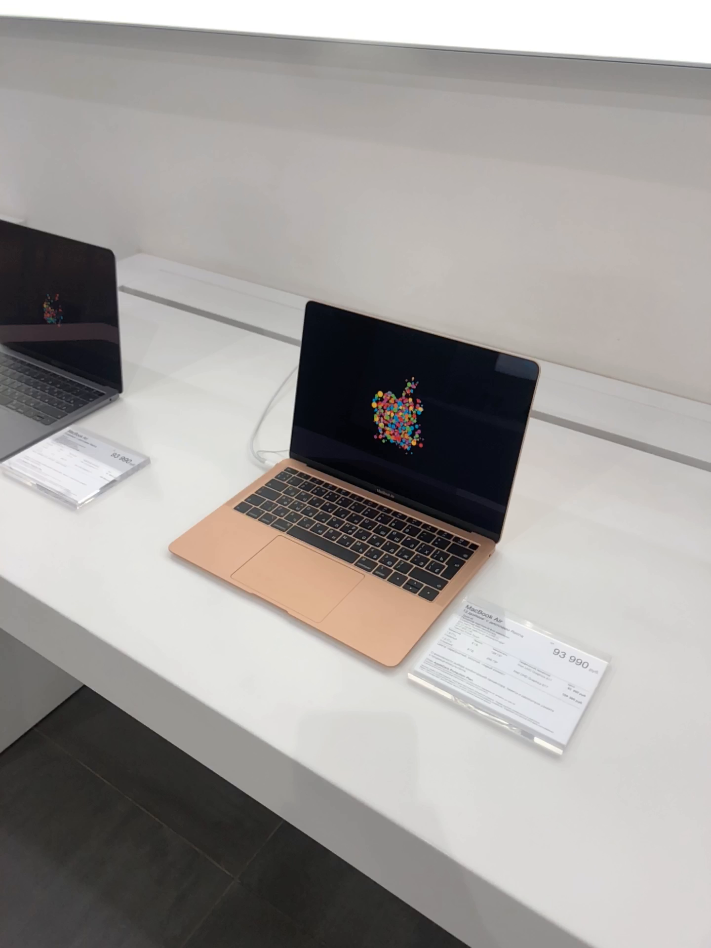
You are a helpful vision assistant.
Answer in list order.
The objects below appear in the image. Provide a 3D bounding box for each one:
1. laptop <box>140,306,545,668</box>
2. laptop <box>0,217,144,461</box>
[{"bbox_3d":[-0.008,-0.011,0.818,0.297,0.188,0.264,22,41,30],"label":"laptop"},{"bbox_3d":[-0.520,-0.207,1.113,0.294,0.204,0.249,22,42,30],"label":"laptop"}]
